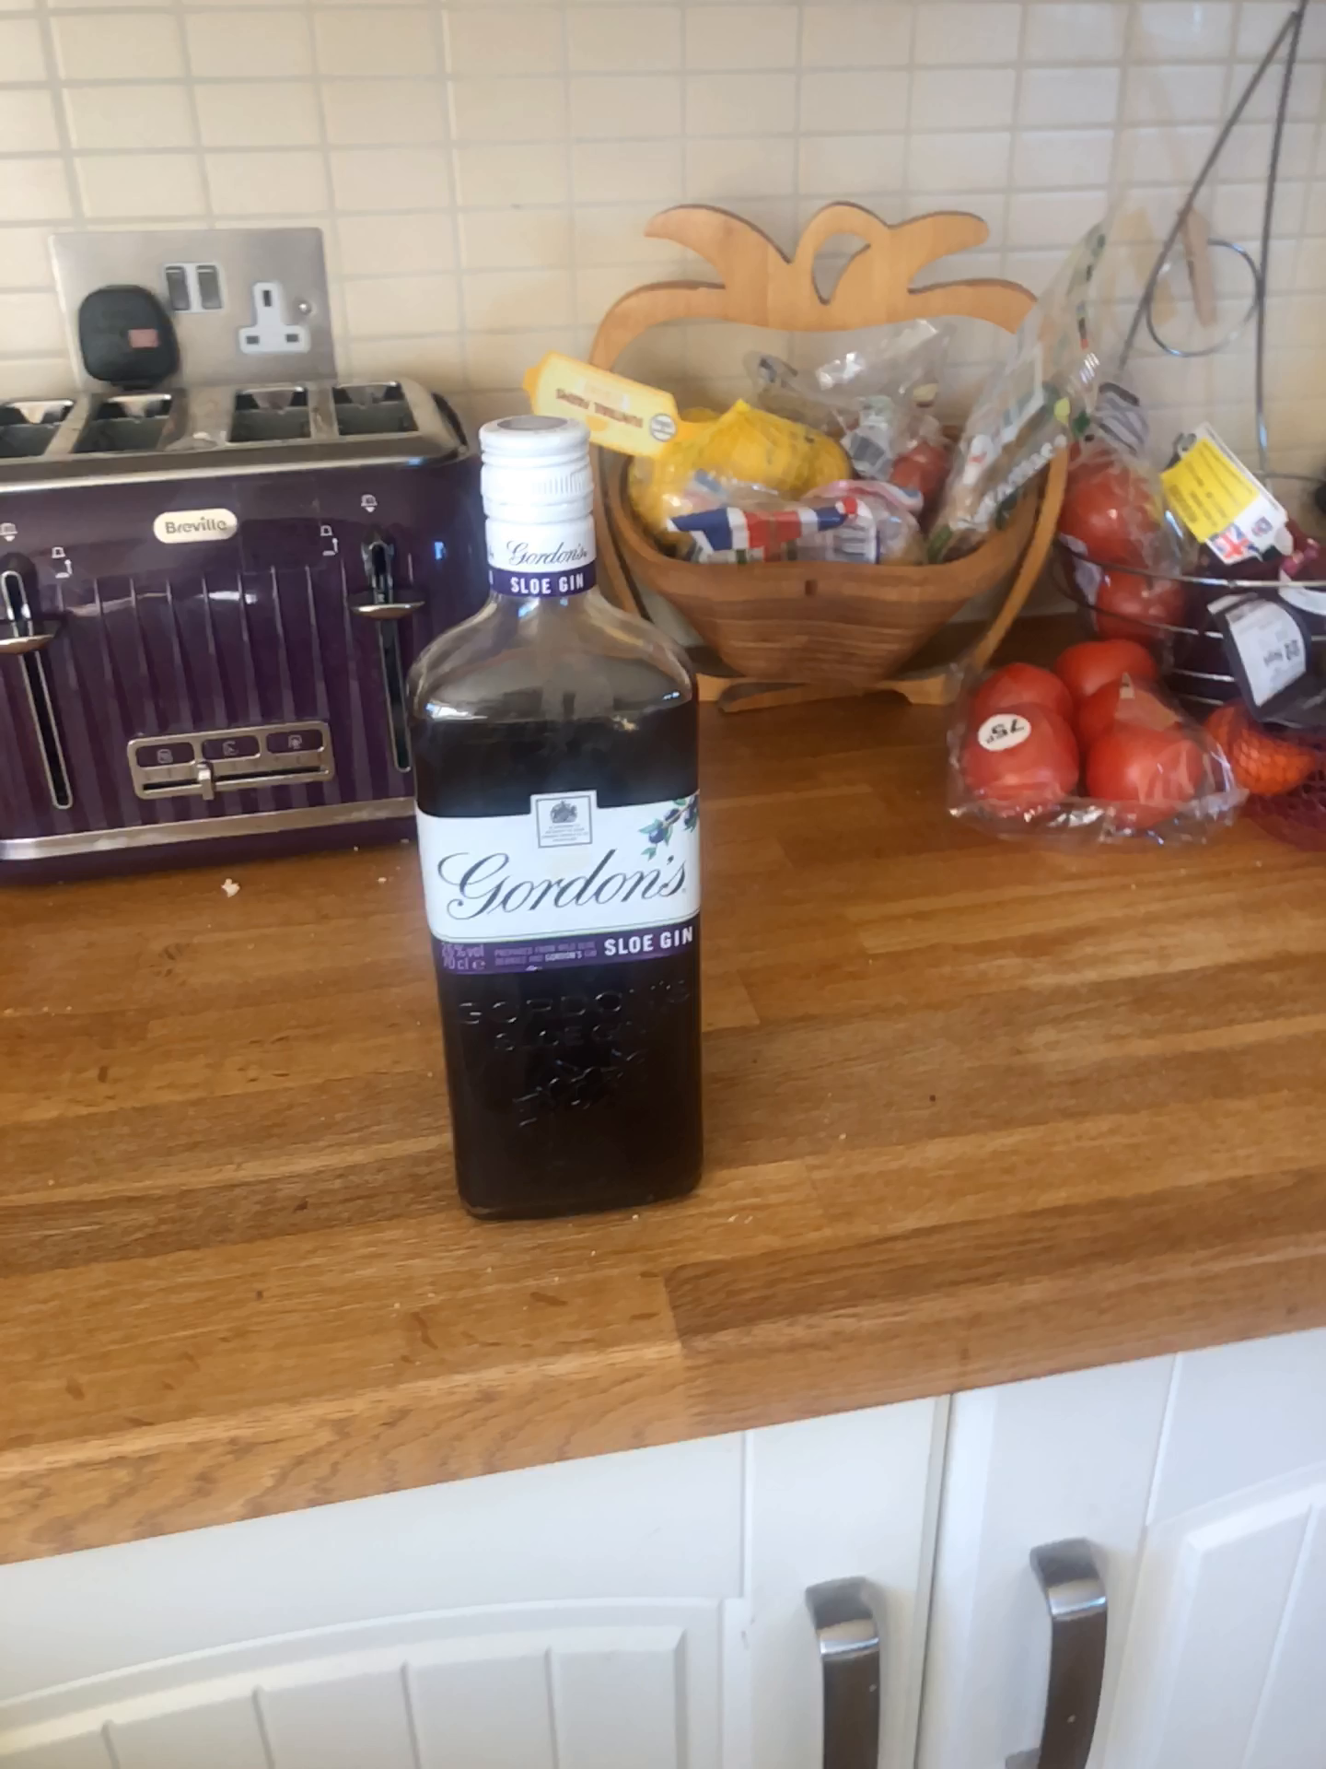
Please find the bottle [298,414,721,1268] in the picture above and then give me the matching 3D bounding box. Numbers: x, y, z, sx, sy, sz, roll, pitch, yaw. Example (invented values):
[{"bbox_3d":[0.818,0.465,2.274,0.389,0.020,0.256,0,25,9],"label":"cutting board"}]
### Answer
[{"bbox_3d":[-0.038,-0.009,0.441,0.100,0.238,0.081,-4,28,-5],"label":"bottle"}]
